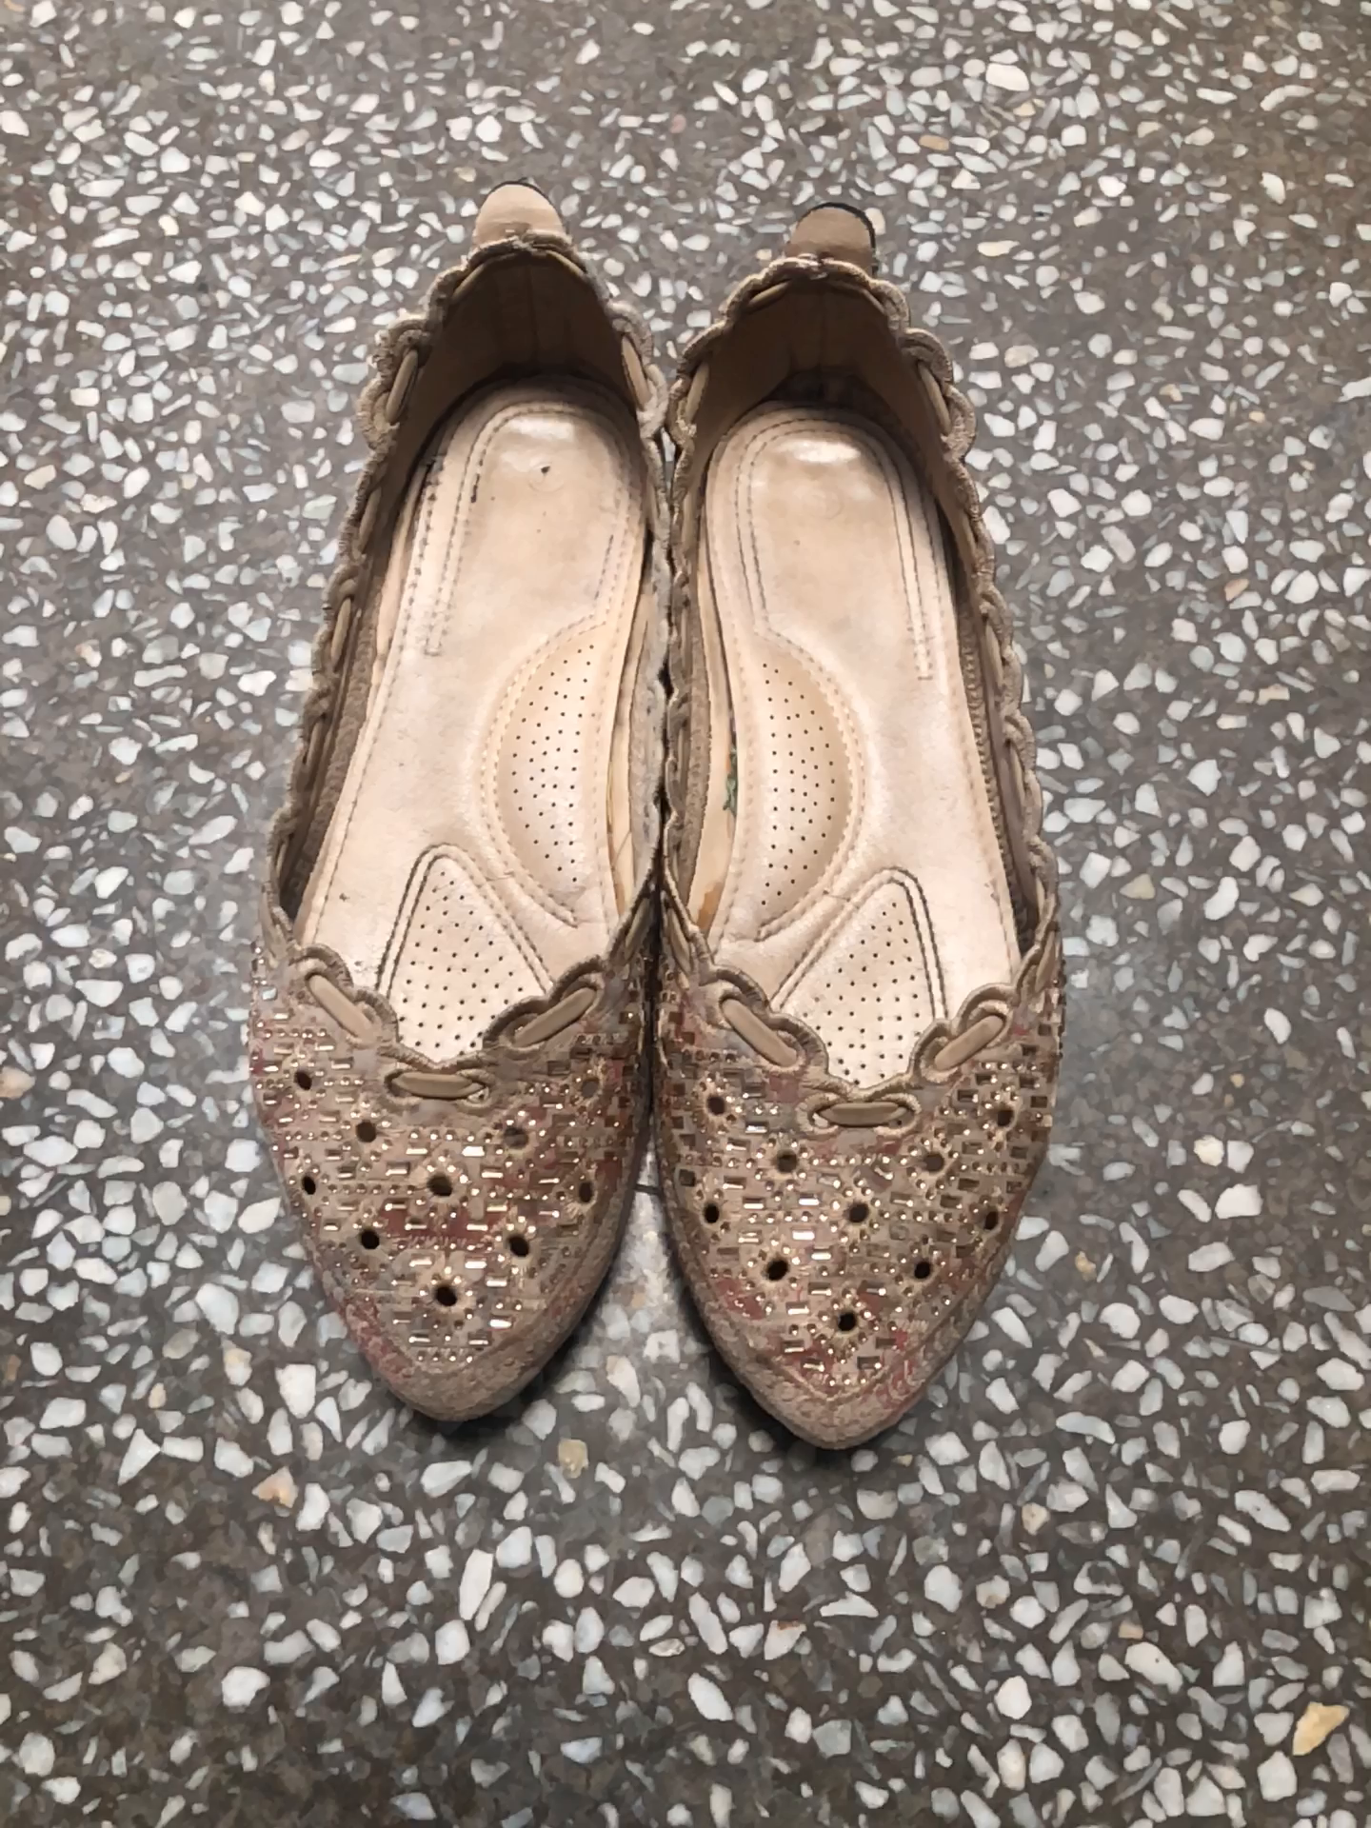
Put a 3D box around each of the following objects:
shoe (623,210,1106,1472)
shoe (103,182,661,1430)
[{"bbox_3d":[0.038,-0.024,0.337,0.090,0.040,0.270,3,75,-1],"label":"shoe"},{"bbox_3d":[-0.056,-0.034,0.341,0.090,0.040,0.280,3,71,-1],"label":"shoe"}]
